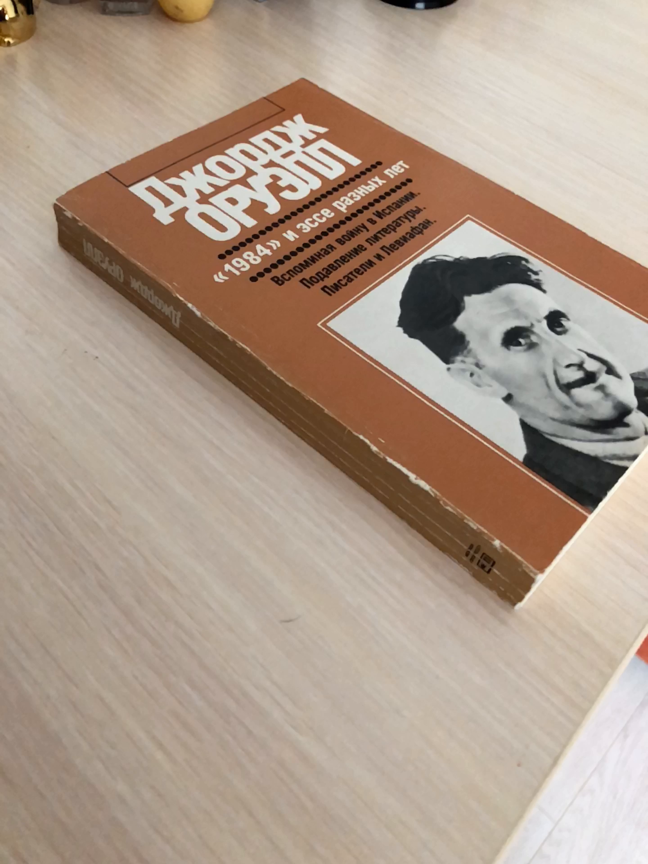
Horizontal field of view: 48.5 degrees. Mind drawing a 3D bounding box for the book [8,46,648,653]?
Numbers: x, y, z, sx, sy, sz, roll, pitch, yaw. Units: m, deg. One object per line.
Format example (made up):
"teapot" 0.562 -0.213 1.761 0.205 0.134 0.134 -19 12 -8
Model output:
"book" 0.017 -0.051 0.242 0.210 0.040 0.131 37 60 22
